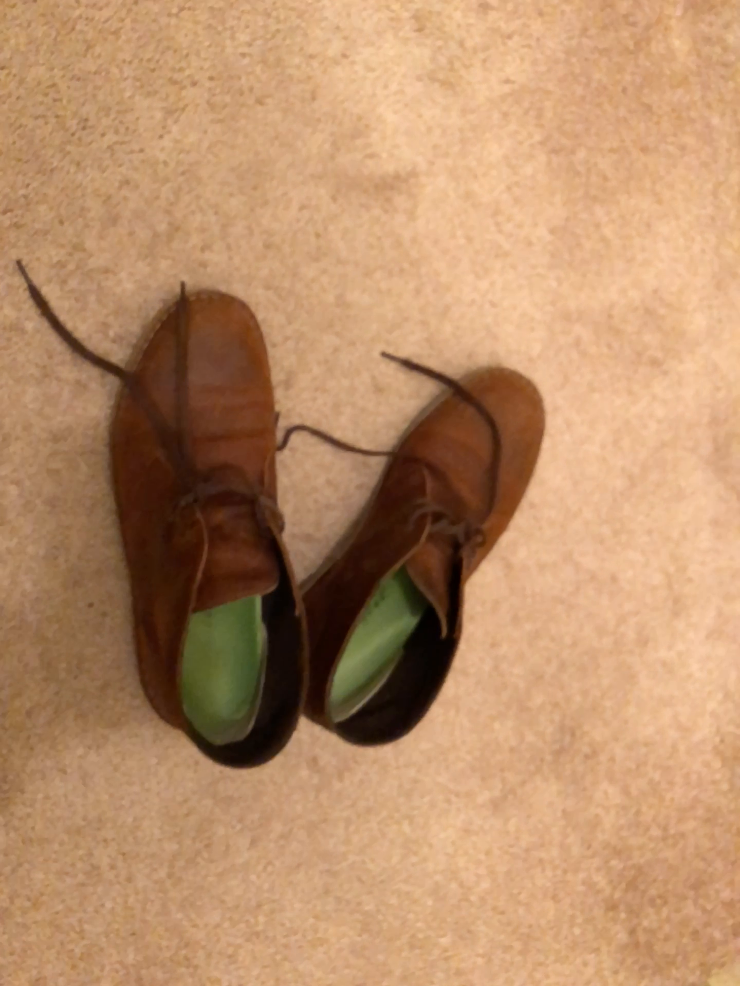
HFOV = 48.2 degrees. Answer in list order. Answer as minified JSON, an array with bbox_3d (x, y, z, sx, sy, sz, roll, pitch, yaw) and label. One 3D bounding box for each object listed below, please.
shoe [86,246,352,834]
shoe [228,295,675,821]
[{"bbox_3d":[-0.098,0.019,0.506,0.110,0.139,0.303,-7,95,-18],"label":"shoe"},{"bbox_3d":[0.048,0.033,0.556,0.110,0.139,0.303,36,81,-17],"label":"shoe"}]
